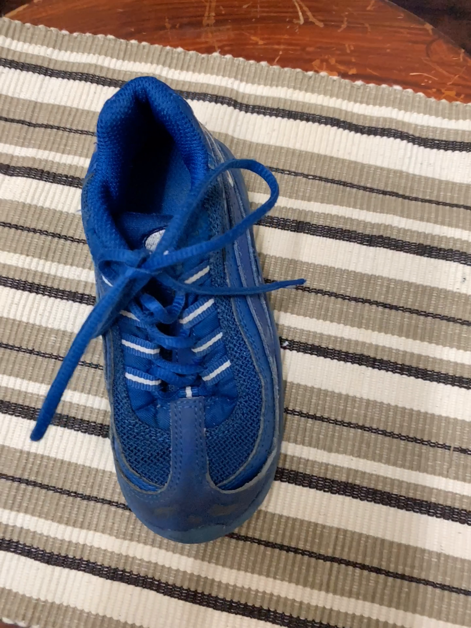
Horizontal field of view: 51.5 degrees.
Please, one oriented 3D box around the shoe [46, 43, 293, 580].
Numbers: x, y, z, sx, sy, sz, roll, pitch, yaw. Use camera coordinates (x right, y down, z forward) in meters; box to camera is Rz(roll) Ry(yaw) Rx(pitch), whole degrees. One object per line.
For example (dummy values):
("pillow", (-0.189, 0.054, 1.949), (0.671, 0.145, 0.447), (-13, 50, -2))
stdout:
("shoe", (-0.023, -0.002, 0.200), (0.073, 0.080, 0.175), (-4, 79, 2))
